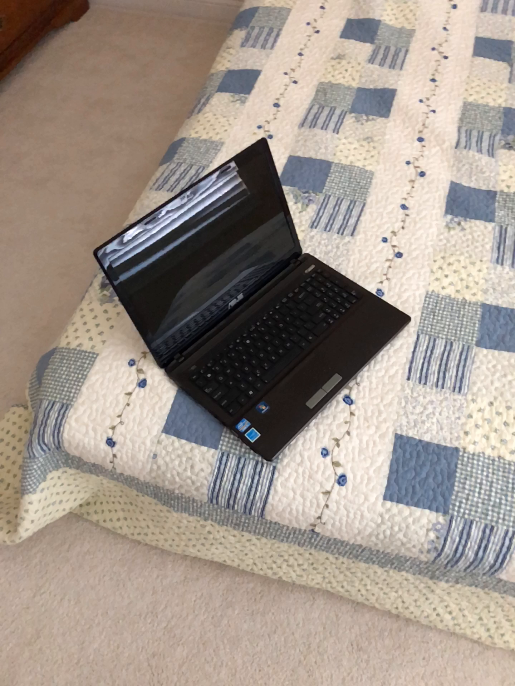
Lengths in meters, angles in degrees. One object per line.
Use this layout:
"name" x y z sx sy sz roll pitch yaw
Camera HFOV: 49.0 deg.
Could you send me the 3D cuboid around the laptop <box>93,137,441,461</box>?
"laptop" 0.016 -0.088 0.895 0.351 0.193 0.358 38 64 23
